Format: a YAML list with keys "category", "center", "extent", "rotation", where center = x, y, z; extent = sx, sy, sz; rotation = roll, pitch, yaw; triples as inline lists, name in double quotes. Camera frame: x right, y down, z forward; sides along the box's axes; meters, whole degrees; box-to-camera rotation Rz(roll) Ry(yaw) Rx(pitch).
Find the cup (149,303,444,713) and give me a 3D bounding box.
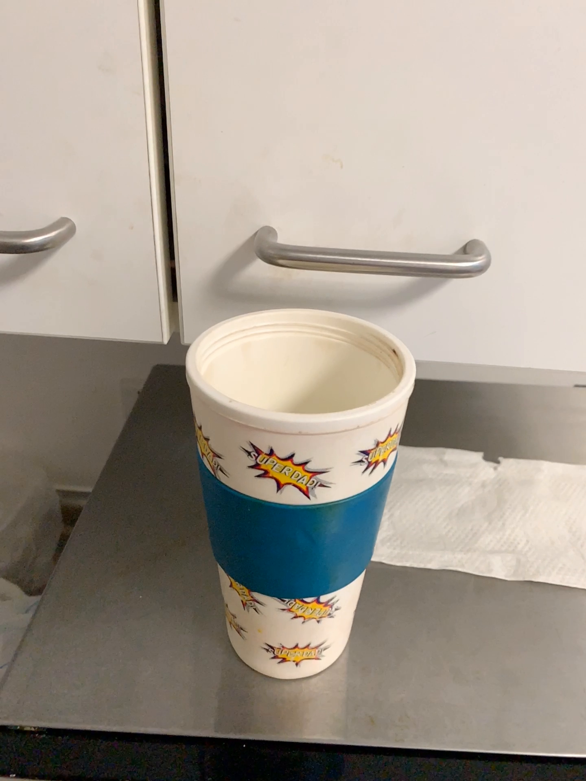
- category: "cup"
  center: [-0.001, 0.050, 0.268]
  extent: [0.092, 0.146, 0.097]
  rotation: [2, 29, -1]
